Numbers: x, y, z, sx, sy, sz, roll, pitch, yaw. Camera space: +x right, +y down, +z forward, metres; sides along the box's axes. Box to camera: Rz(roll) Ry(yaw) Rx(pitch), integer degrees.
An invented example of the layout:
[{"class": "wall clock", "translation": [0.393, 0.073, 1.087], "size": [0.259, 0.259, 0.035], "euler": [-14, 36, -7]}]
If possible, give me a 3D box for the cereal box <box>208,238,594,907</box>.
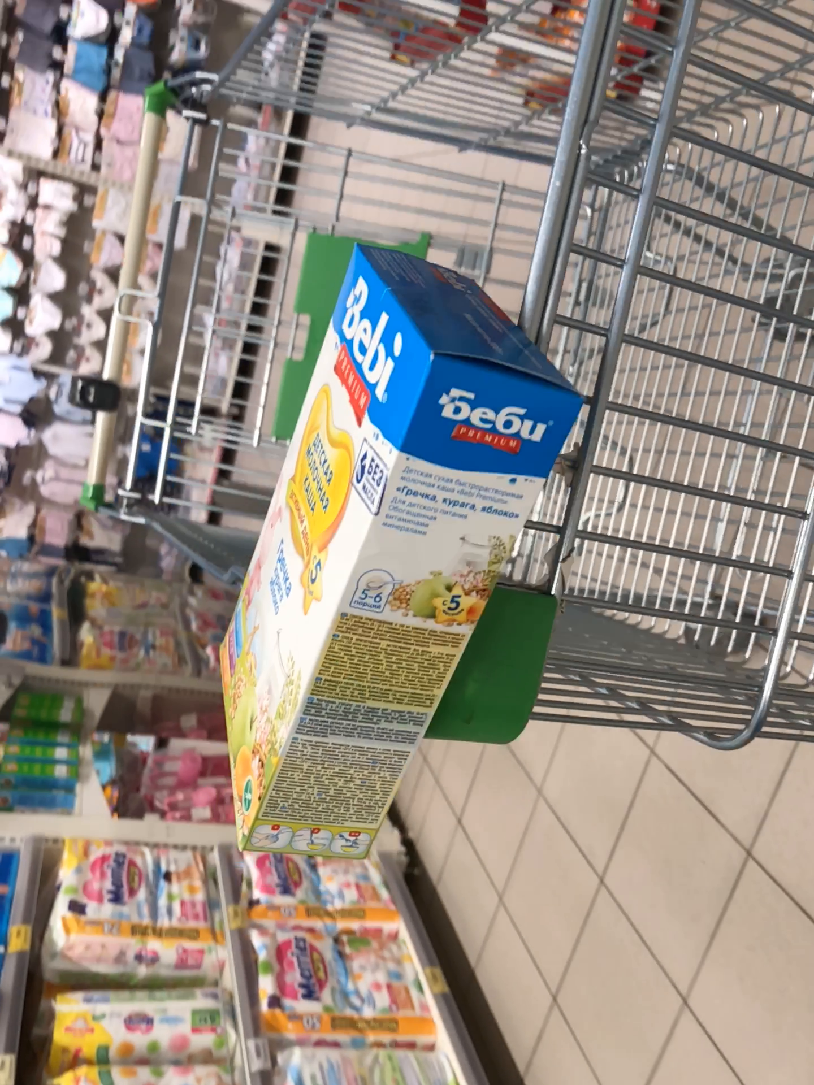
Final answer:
[{"class": "cereal box", "translation": [-0.023, 0.011, 0.346], "size": [0.140, 0.050, 0.210], "euler": [-112, 40, -55]}]
